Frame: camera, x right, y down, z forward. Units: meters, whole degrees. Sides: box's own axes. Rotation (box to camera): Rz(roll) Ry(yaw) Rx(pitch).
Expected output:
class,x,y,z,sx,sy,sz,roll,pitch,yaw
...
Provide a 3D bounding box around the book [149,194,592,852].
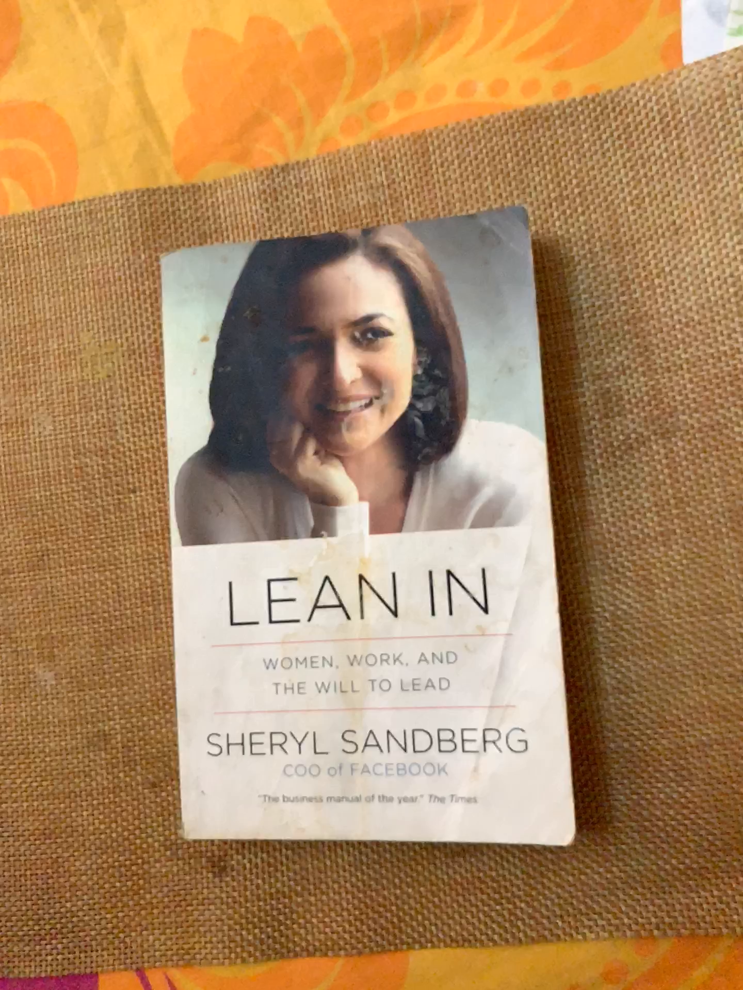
class,x,y,z,sx,sy,sz,roll,pitch,yaw
book,-0.005,0.010,0.273,0.141,0.026,0.212,-4,83,10
